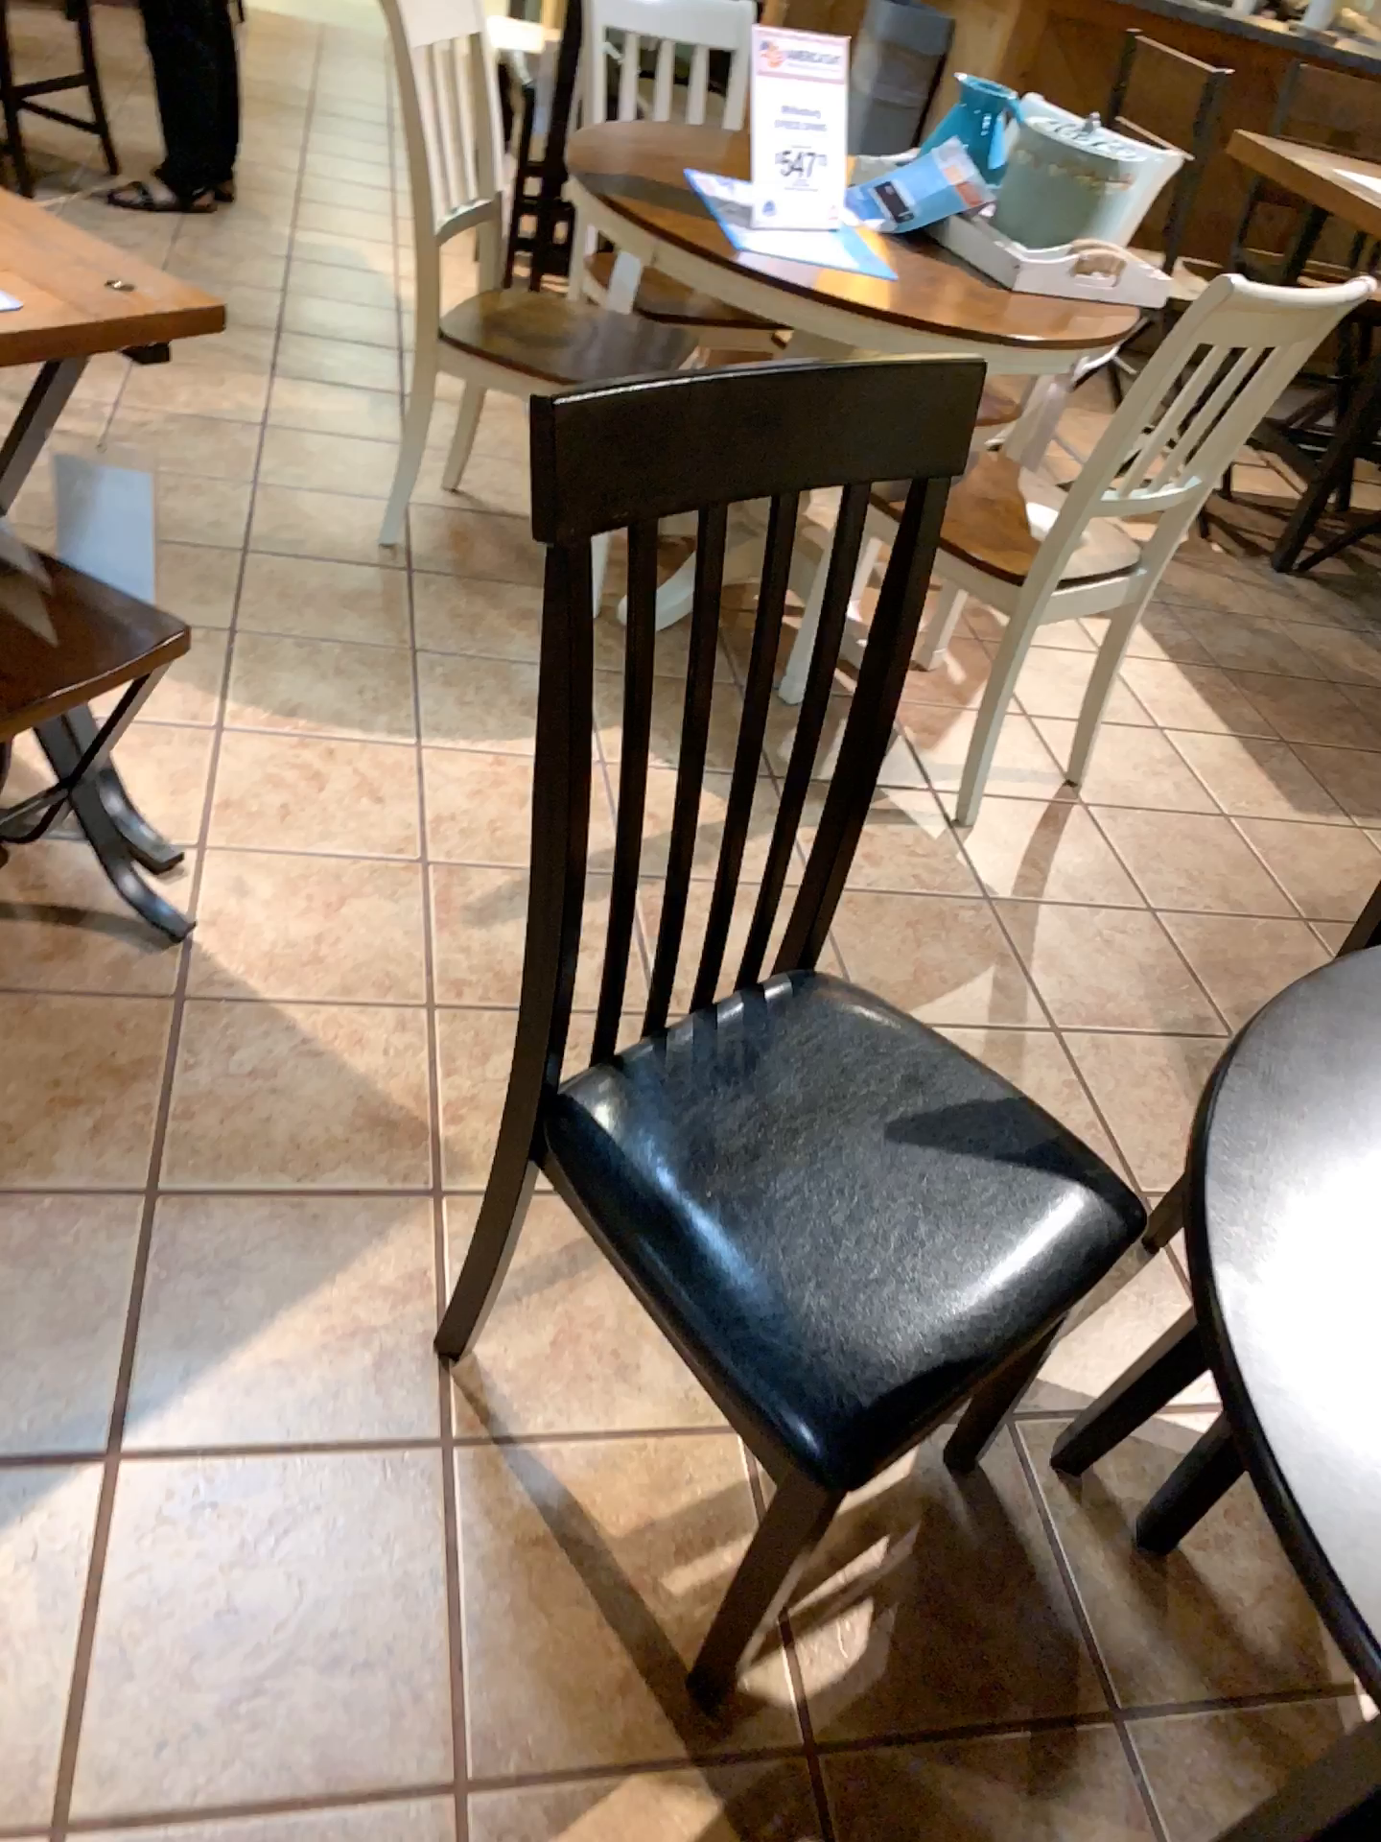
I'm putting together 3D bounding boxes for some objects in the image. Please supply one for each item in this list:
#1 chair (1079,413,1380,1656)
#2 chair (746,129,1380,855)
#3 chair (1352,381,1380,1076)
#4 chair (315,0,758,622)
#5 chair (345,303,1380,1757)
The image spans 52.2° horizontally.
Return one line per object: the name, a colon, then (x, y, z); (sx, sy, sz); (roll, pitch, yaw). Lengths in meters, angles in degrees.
chair: (0.727, 0.133, 1.277); (0.384, 0.933, 0.544); (16, 38, 0)
chair: (0.540, -0.670, 2.240); (0.465, 0.893, 0.542); (-21, 51, -38)
chair: (1.534, -0.237, 2.086); (0.541, 0.893, 0.406); (4, 39, -15)
chair: (-0.287, -1.087, 2.454); (0.541, 0.903, 0.416); (18, 38, 2)
chair: (0.103, 0.089, 1.129); (0.455, 0.923, 0.562); (-22, 52, -39)
